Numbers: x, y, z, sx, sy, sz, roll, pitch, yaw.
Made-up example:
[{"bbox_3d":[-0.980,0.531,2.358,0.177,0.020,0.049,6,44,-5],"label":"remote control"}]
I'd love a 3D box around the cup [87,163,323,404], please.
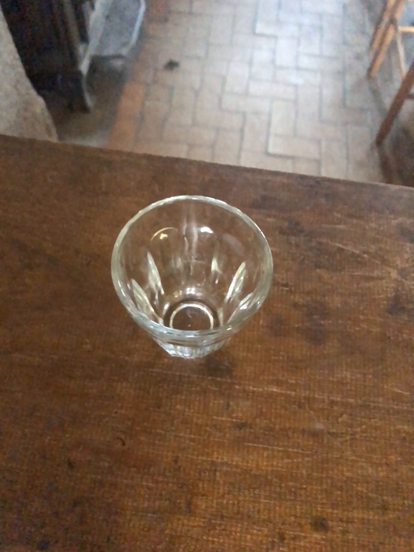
[{"bbox_3d":[-0.003,0.007,0.236,0.080,0.080,0.070,-23,65,-14],"label":"cup"}]
